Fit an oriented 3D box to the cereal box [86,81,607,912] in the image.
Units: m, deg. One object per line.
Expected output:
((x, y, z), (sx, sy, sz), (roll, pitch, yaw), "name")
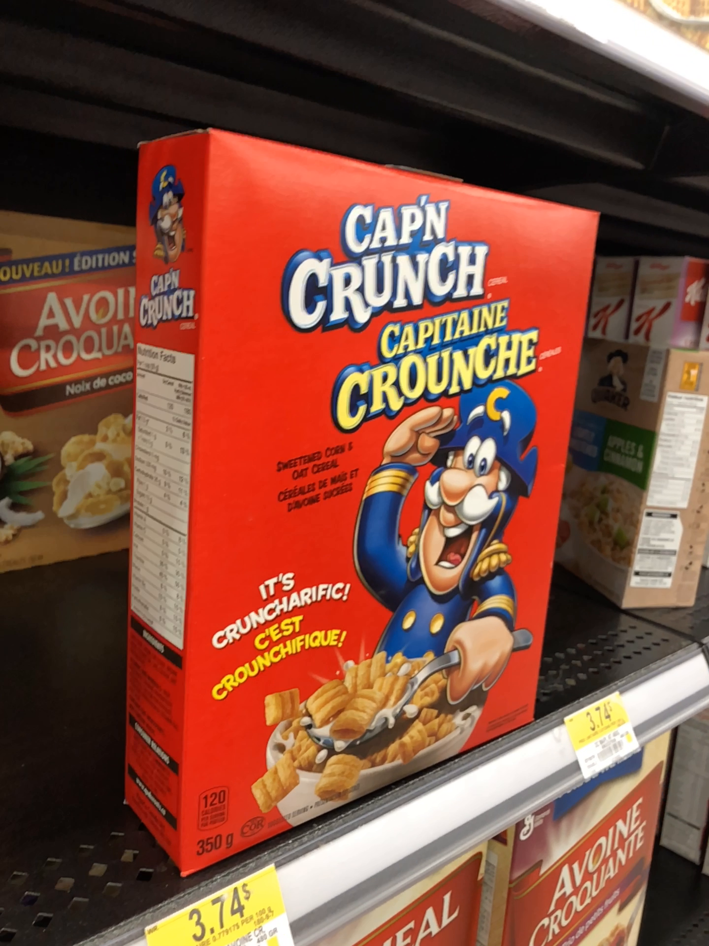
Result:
((0.003, 0.007, 0.349), (0.220, 0.279, 0.060), (-5, 15, -40), "cereal box")
